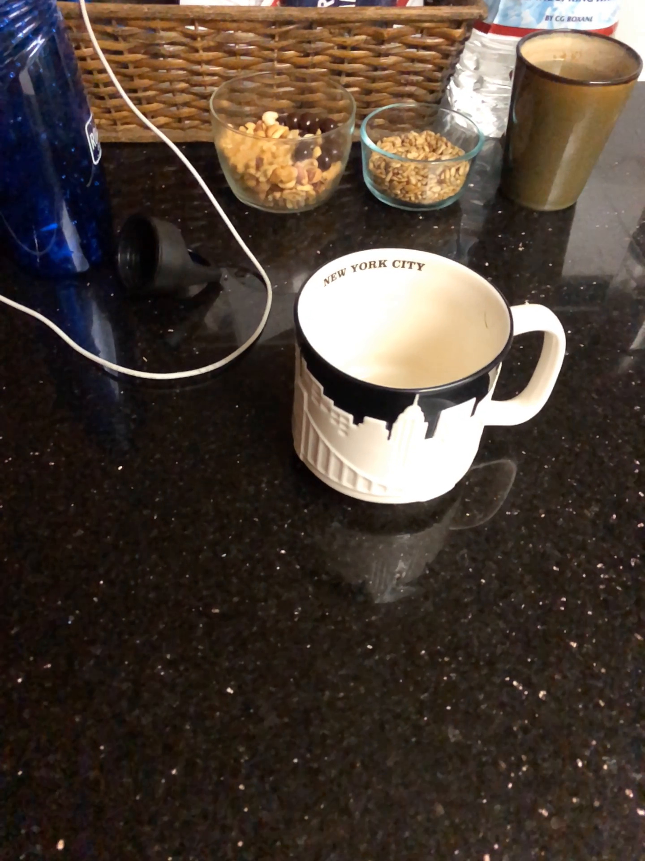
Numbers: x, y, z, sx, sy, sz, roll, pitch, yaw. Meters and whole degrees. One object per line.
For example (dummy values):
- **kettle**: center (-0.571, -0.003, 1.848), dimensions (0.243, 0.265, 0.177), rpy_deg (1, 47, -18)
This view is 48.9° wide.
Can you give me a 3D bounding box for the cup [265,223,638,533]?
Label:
- **cup**: center (0.056, -0.031, 0.379), dimensions (0.150, 0.090, 0.110), rpy_deg (-11, 51, -12)
